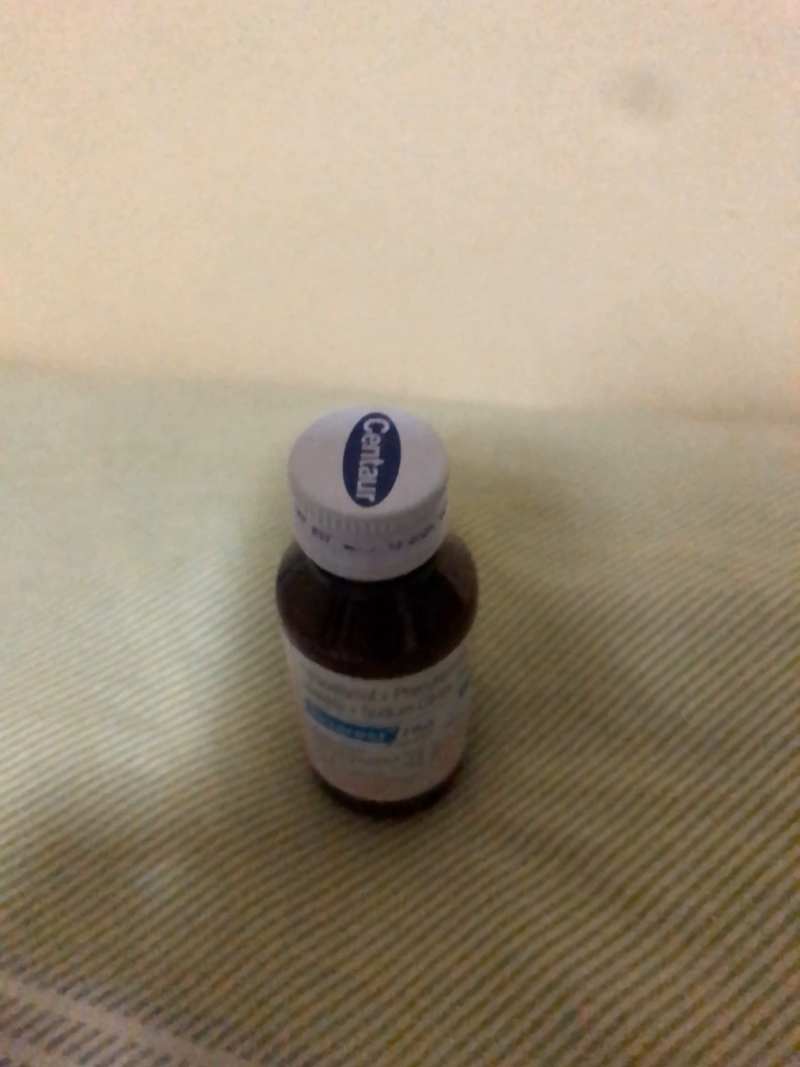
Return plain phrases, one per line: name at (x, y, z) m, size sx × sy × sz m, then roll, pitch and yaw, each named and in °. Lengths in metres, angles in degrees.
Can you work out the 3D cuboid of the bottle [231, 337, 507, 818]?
bottle at (-0.003, 0.015, 0.182) m, size 0.040 × 0.100 × 0.040 m, roll -1°, pitch 48°, yaw 1°
